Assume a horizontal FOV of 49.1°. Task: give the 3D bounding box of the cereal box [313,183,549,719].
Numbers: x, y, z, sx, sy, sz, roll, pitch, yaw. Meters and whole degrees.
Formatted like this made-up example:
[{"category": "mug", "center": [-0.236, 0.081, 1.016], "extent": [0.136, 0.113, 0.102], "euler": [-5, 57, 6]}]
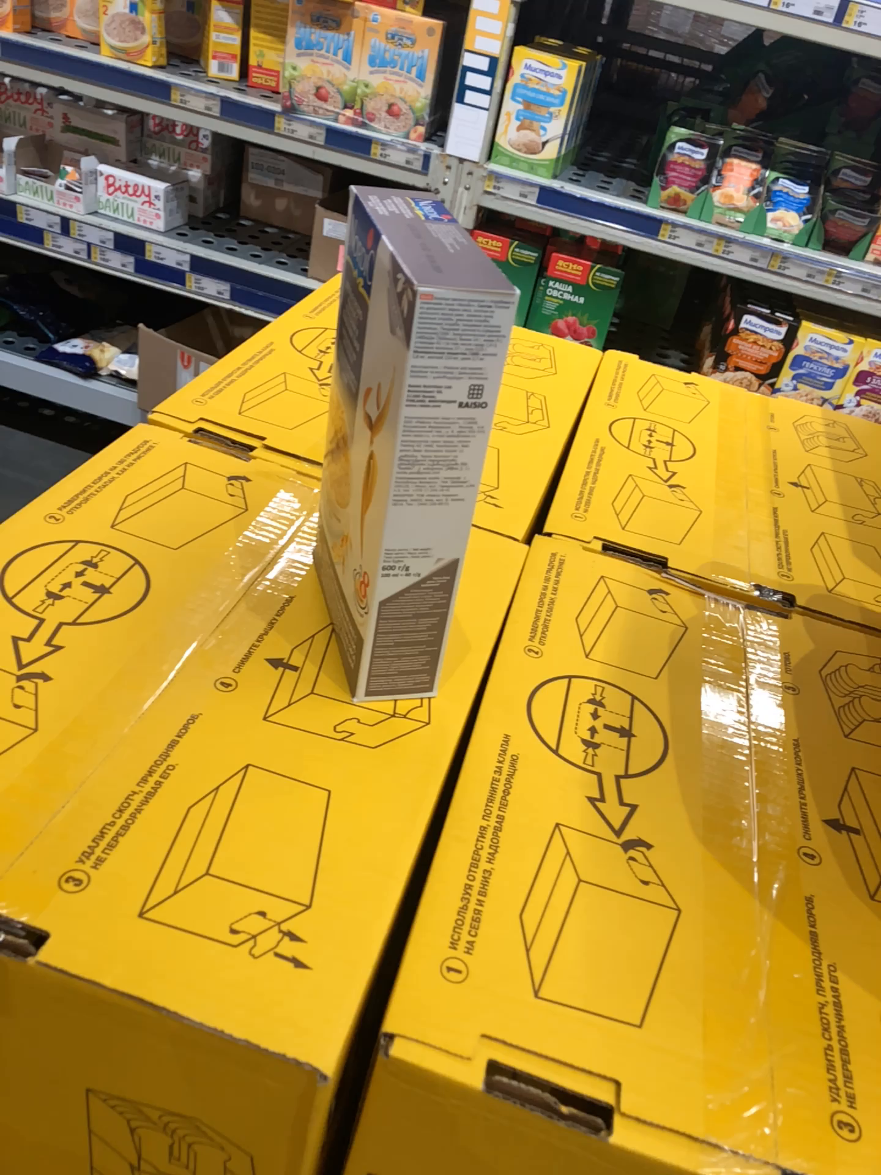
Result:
[{"category": "cereal box", "center": [-0.019, -0.067, 0.489], "extent": [0.050, 0.218, 0.151], "euler": [-1, 37, -17]}]
